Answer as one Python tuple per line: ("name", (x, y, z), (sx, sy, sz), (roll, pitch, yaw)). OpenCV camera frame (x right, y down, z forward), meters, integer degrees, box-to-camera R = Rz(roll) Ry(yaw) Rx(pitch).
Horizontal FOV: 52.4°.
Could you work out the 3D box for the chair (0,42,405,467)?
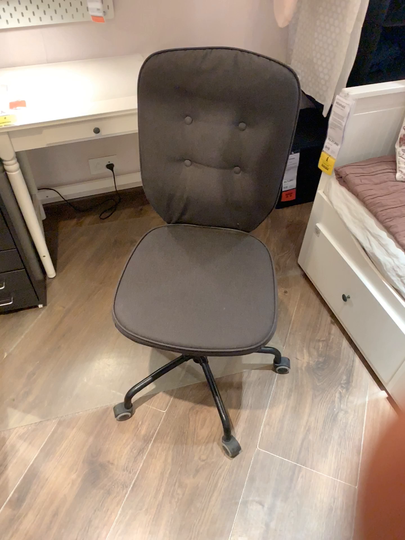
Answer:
("chair", (0.015, 0.000, 1.186), (0.650, 0.947, 0.733), (4, 47, 2))
